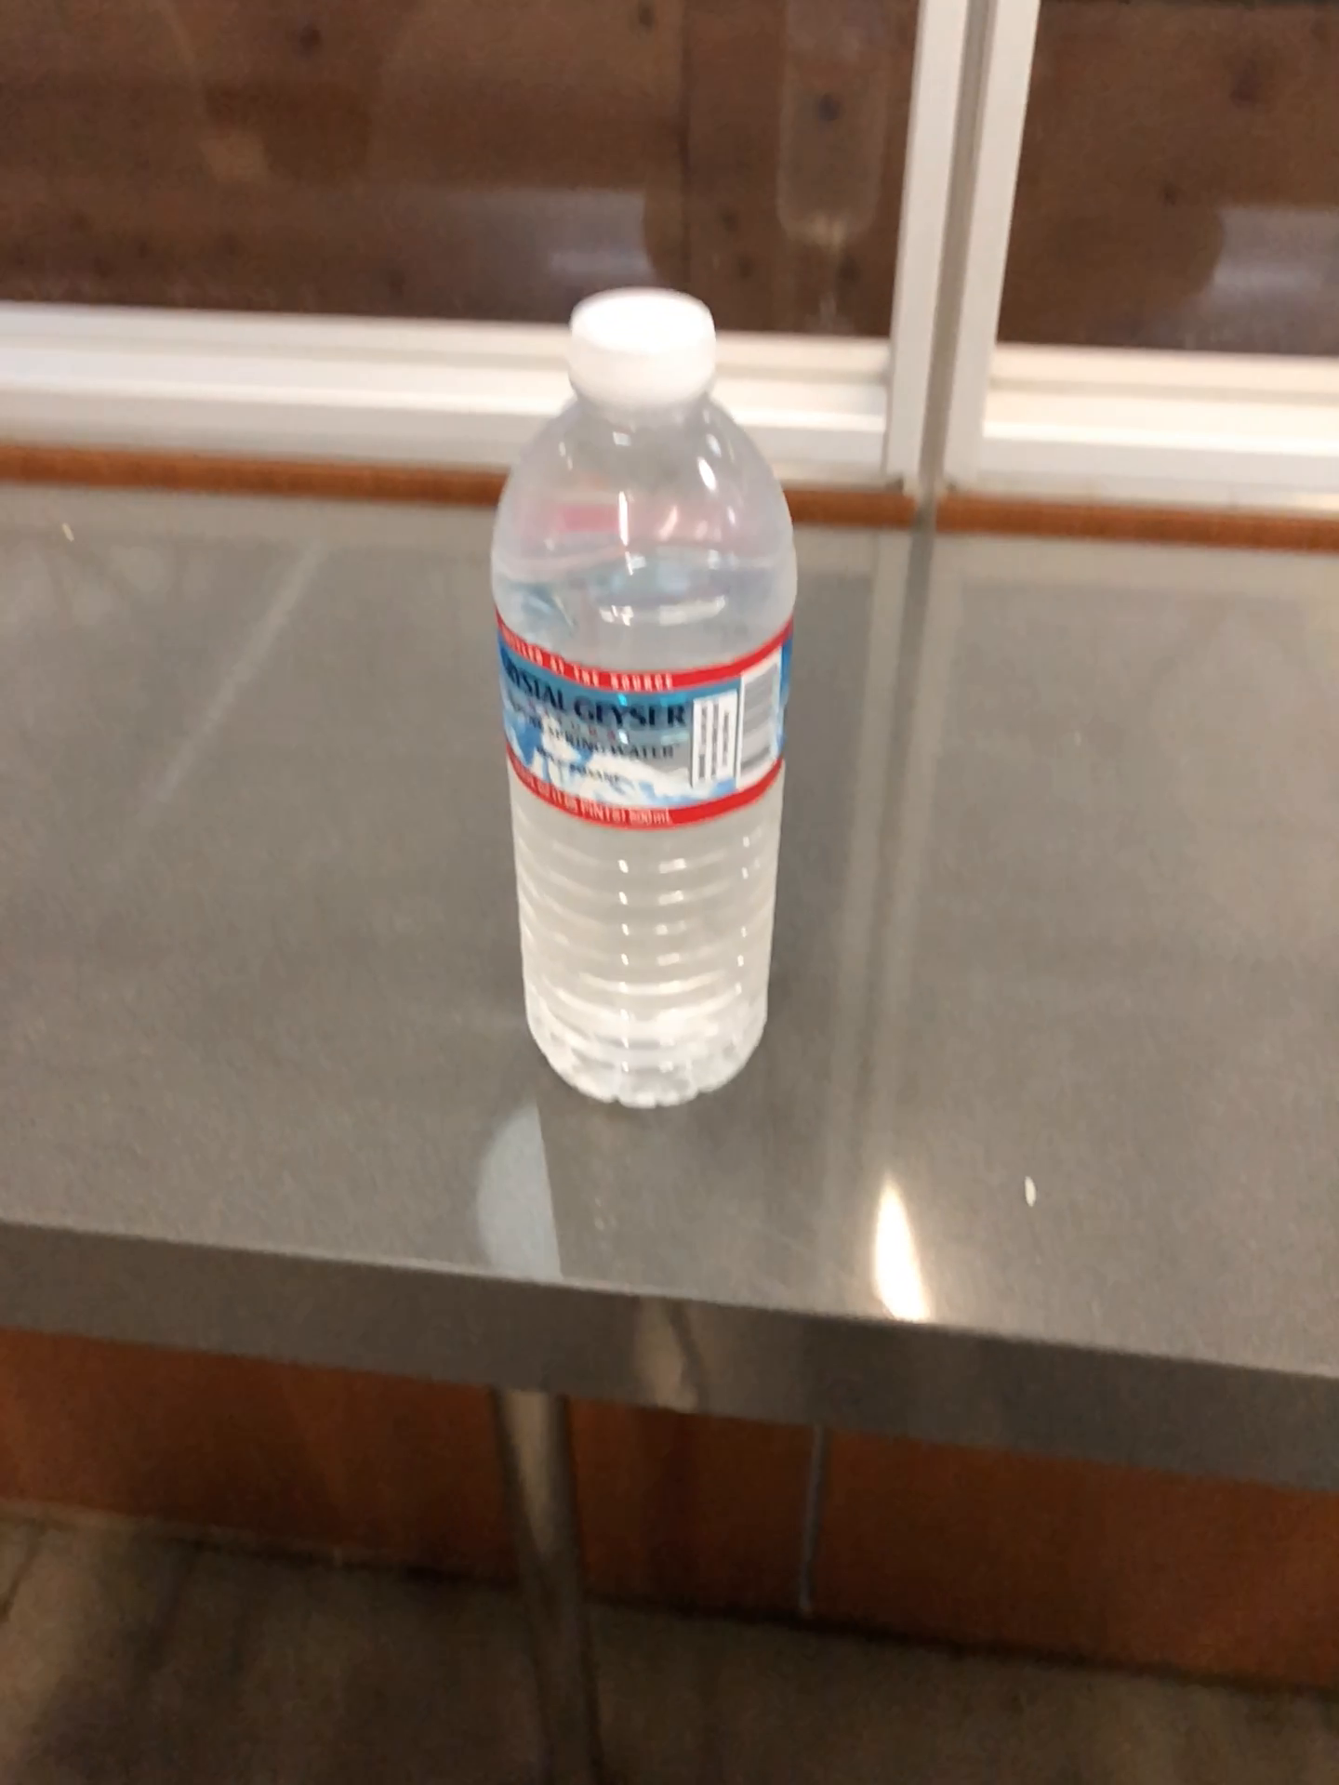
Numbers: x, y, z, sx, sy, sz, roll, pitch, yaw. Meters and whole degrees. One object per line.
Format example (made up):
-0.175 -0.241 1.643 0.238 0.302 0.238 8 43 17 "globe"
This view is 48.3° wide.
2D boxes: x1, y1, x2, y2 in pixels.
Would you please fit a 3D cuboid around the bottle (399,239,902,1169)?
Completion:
-0.001 -0.036 0.340 0.070 0.189 0.070 0 40 0 "bottle"
